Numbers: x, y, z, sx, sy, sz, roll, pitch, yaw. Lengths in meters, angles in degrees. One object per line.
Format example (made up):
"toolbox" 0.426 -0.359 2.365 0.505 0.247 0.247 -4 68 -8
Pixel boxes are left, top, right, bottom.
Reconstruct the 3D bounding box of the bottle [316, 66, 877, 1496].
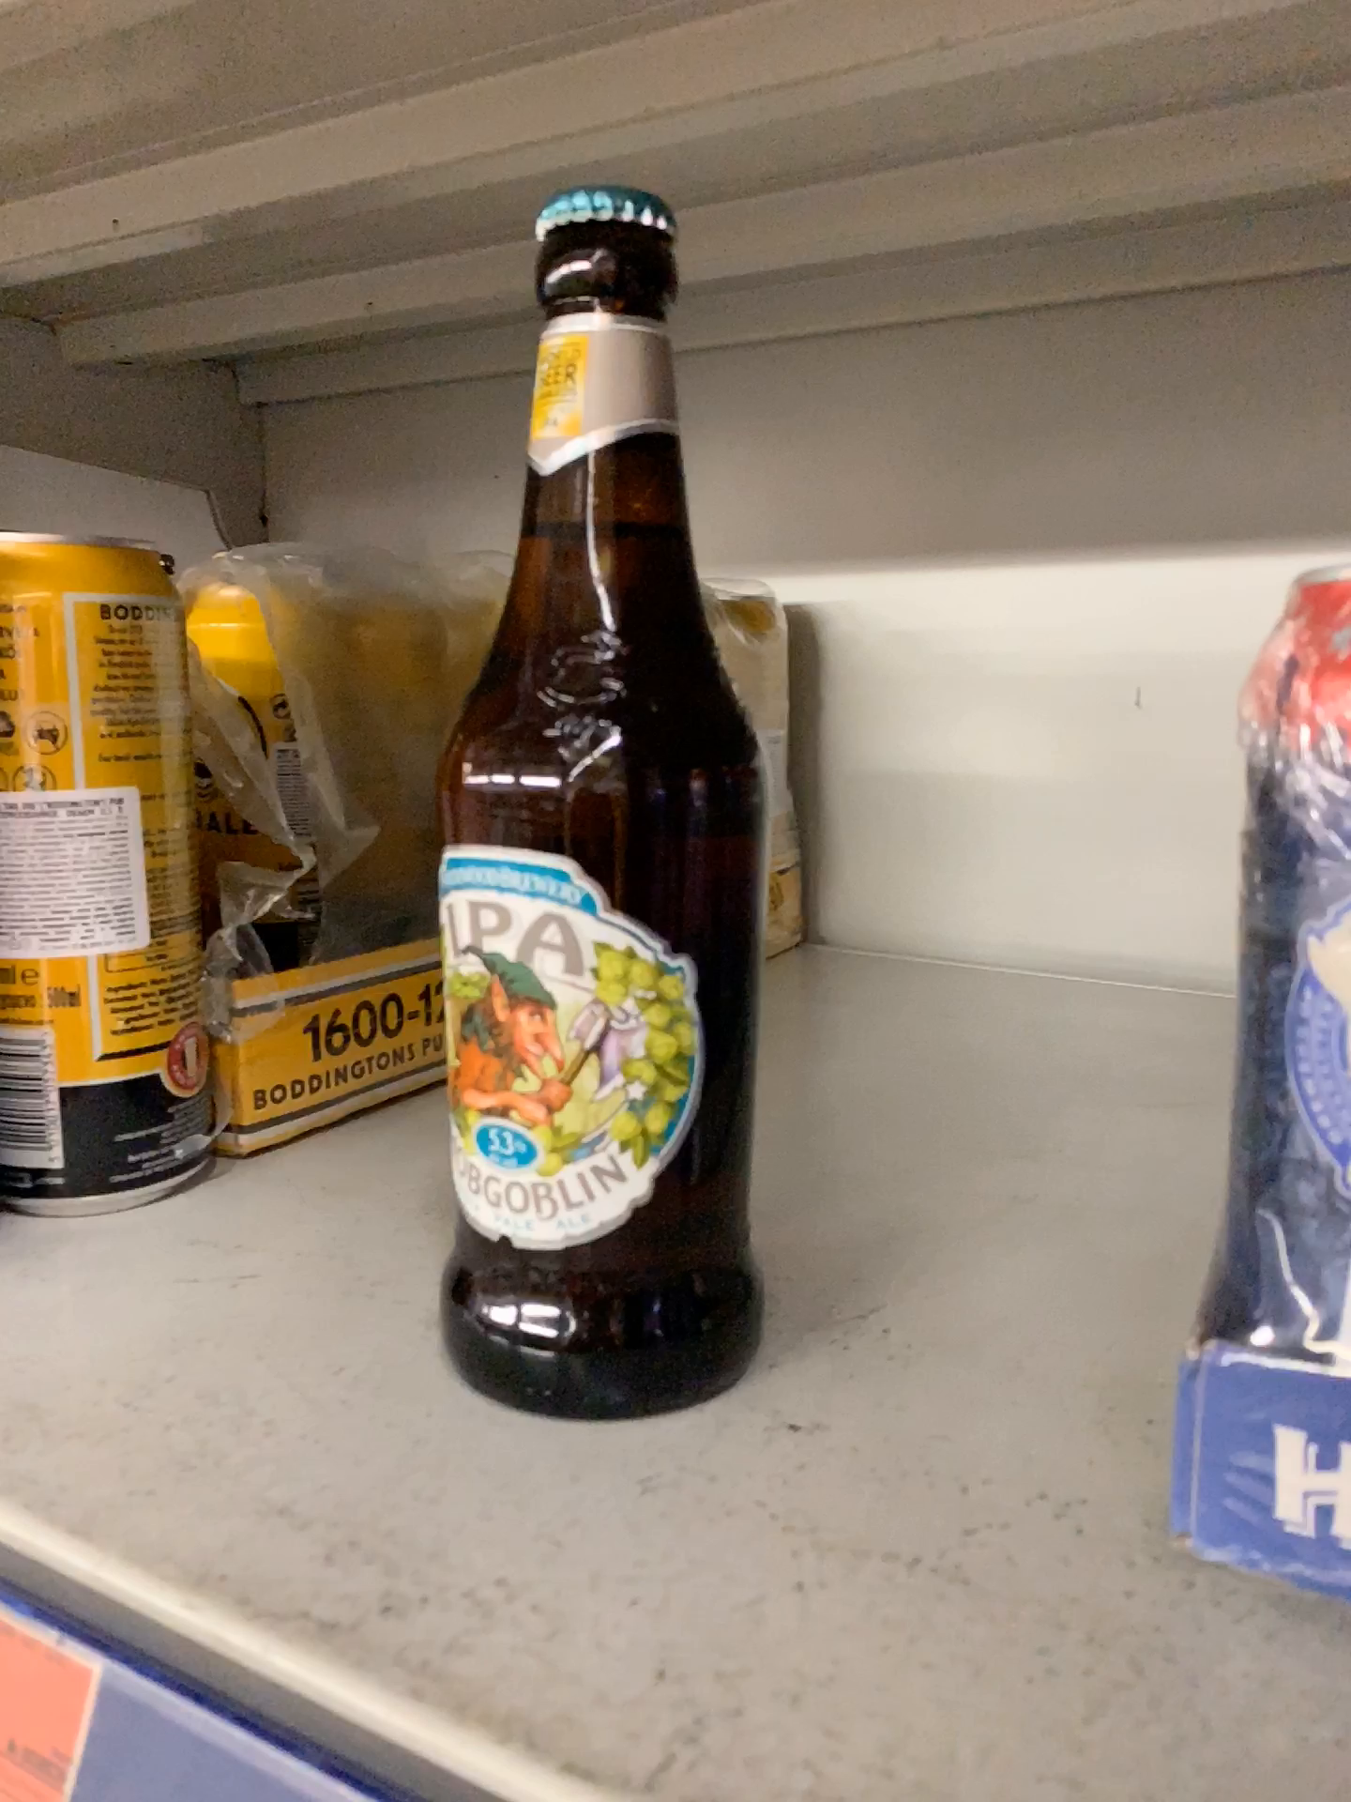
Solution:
"bottle" -0.015 -0.021 0.298 0.080 0.249 0.080 0 8 0
